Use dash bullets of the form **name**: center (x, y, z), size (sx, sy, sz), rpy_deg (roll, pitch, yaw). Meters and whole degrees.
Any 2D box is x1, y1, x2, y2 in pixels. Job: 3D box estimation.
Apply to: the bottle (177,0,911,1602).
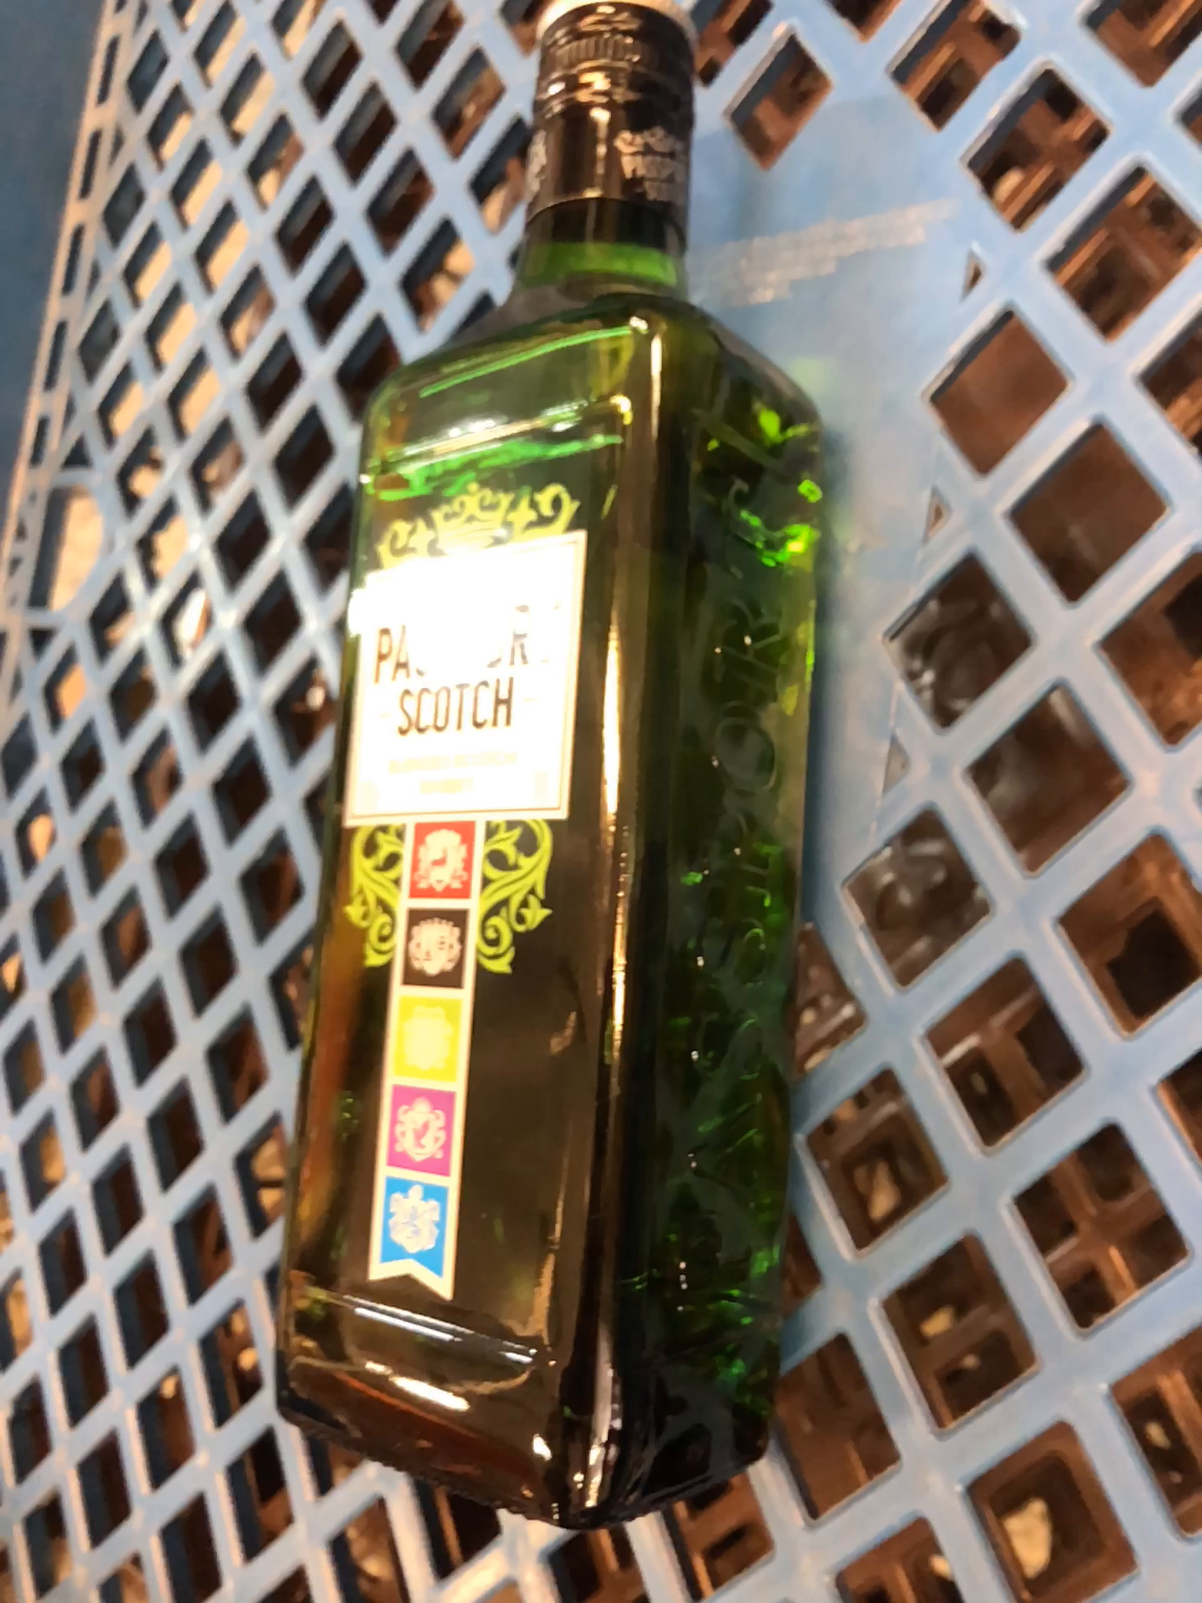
- **bottle**: center (-0.004, -0.035, 0.235), size (0.080, 0.070, 0.280), rpy_deg (-3, 79, 40)
